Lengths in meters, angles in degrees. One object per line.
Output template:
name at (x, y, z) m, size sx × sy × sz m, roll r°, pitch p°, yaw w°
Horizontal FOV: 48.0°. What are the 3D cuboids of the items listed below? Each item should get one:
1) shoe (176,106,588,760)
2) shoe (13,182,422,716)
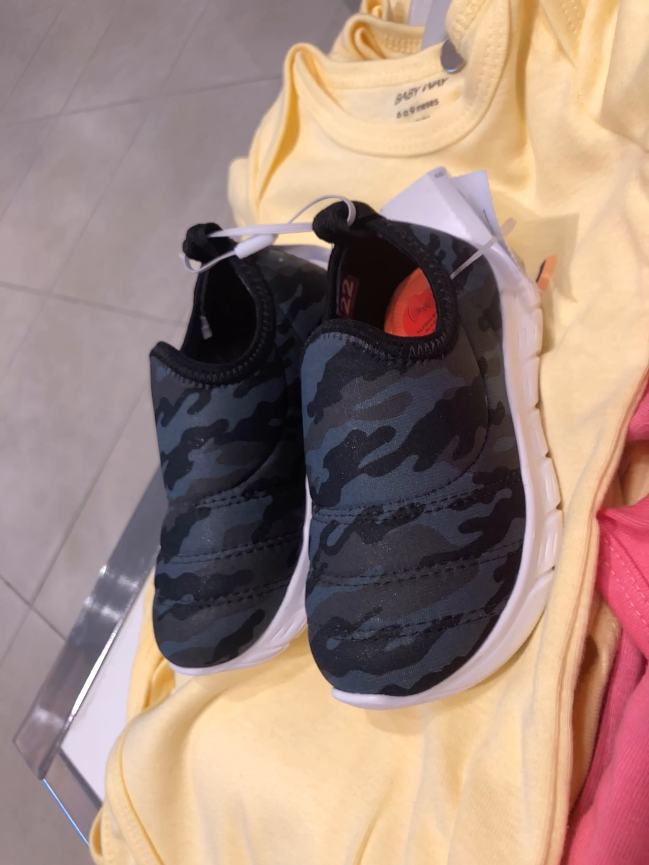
shoe at (0.023, 0.003, 0.202) m, size 0.070 × 0.070 × 0.150 m, roll -12°, pitch 59°, yaw 36°
shoe at (-0.028, 0.008, 0.252) m, size 0.070 × 0.080 × 0.150 m, roll -5°, pitch 64°, yaw 39°
